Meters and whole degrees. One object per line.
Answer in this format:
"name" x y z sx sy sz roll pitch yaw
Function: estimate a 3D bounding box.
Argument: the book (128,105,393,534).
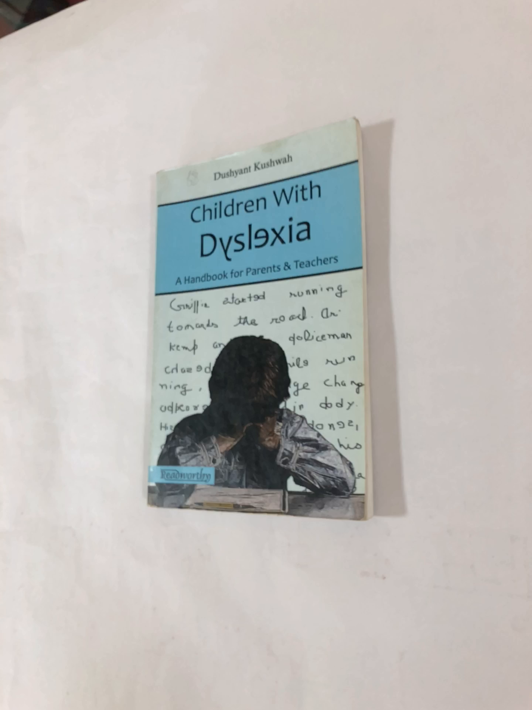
"book" -0.008 -0.016 0.348 0.150 0.030 0.220 -5 79 28
